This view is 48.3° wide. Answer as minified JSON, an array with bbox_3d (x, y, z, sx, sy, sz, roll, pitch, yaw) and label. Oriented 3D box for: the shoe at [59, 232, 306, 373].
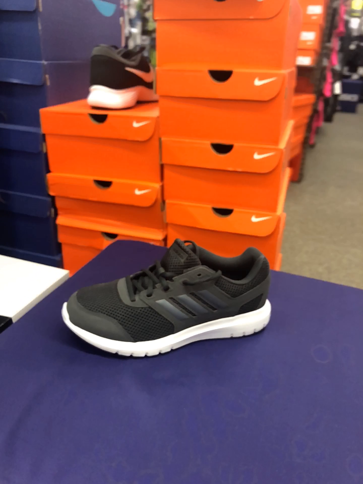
[{"bbox_3d":[-0.003,0.065,0.508,0.280,0.107,0.102,-4,26,-16],"label":"shoe"}]
